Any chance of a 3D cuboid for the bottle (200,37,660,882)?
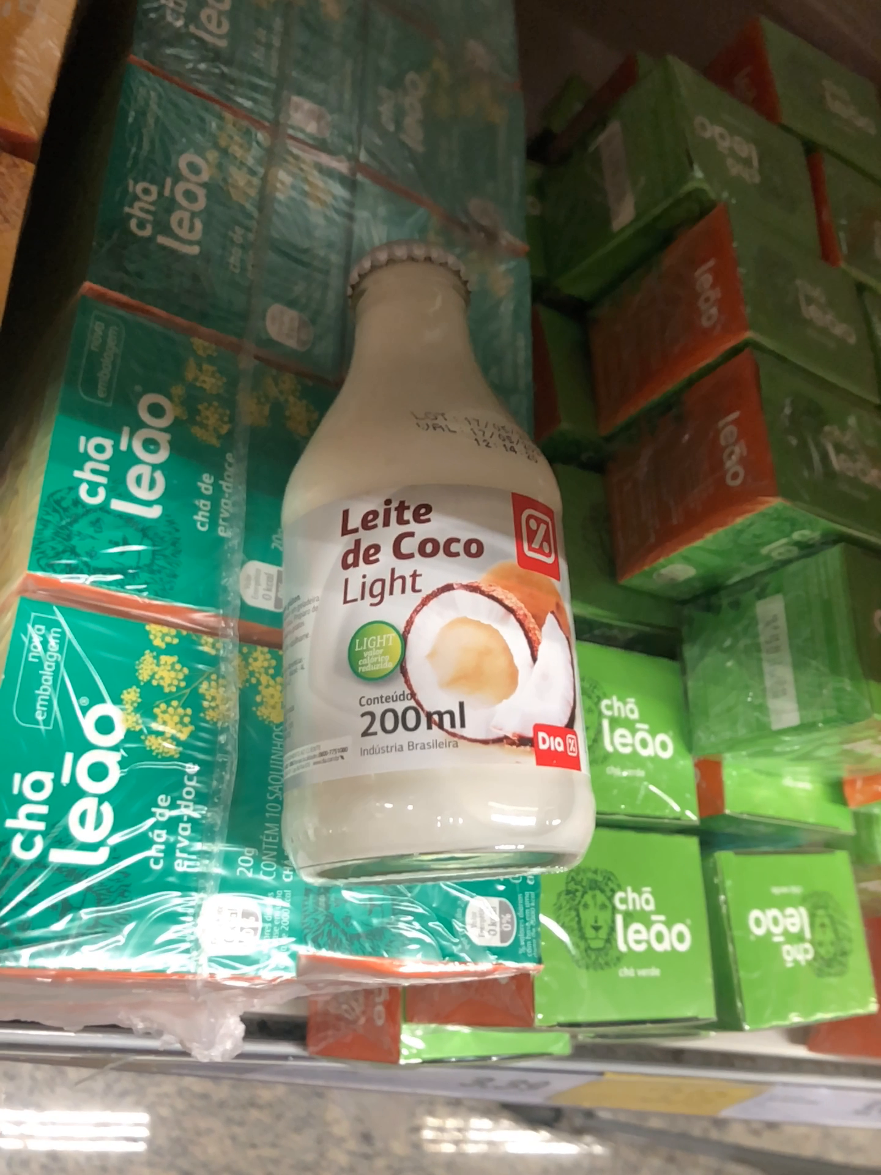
[{"bbox_3d":[-0.008,-0.024,0.212,0.070,0.050,0.160,7,68,-32],"label":"bottle"}]
